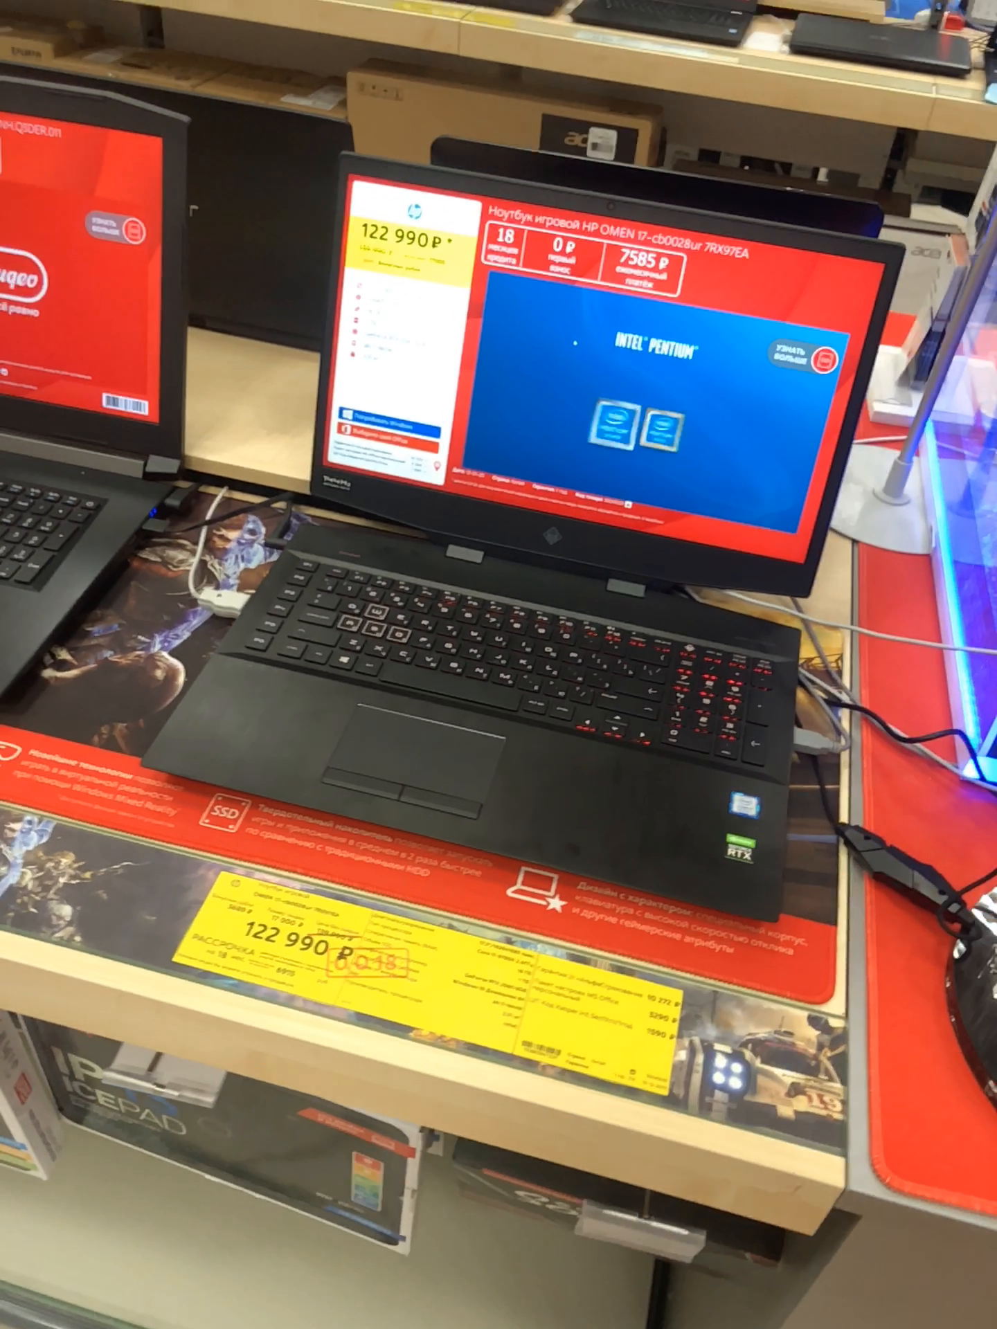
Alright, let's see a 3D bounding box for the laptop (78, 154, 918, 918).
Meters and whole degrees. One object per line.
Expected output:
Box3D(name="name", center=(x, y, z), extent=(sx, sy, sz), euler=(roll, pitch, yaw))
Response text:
Box3D(name="laptop", center=(0.027, -0.112, 0.707), extent=(0.391, 0.246, 0.377), euler=(12, 43, 9))
